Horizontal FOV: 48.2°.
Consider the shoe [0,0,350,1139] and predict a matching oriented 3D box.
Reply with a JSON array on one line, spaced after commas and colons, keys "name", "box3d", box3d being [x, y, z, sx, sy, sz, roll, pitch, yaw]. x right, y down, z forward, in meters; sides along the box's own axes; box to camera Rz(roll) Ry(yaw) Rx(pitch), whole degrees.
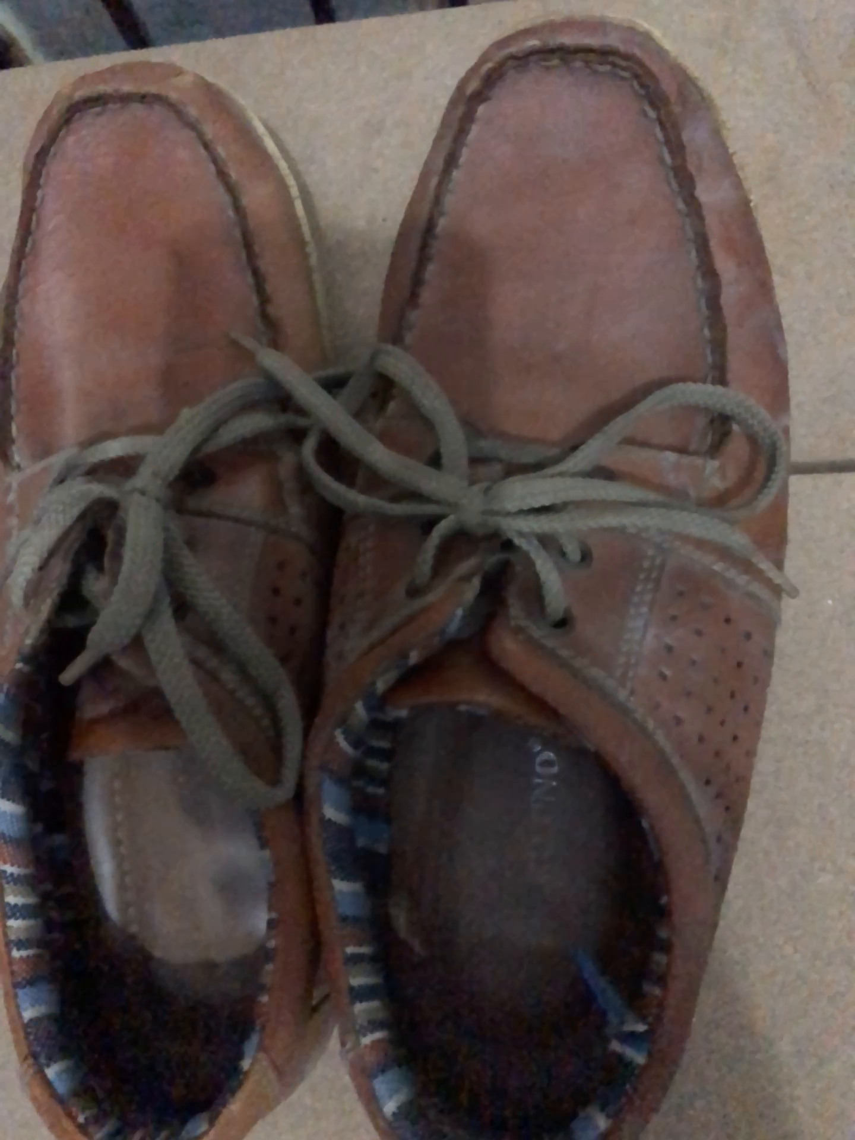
[{"name": "shoe", "box3d": [-0.091, -0.010, 0.244, 0.100, 0.100, 0.287, -6, 79, 16]}]

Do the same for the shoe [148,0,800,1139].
[{"name": "shoe", "box3d": [0.023, -0.011, 0.213, 0.100, 0.100, 0.280, -1, 80, 17]}]
